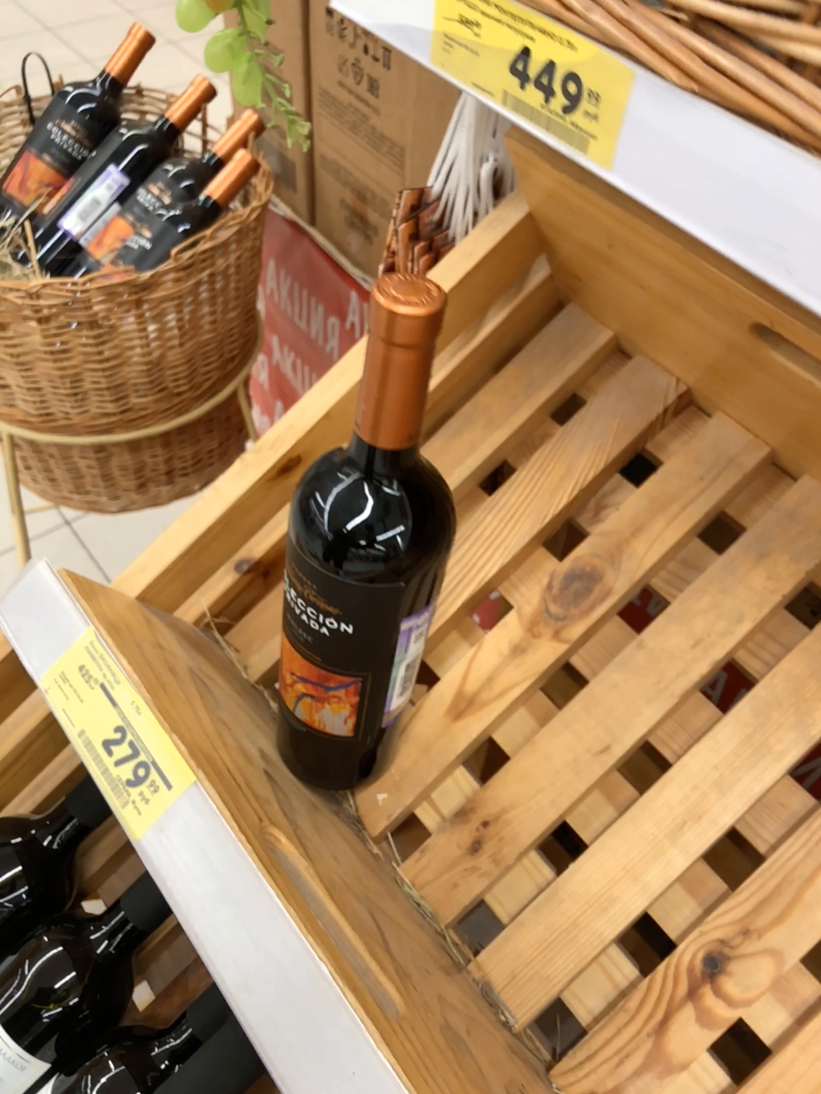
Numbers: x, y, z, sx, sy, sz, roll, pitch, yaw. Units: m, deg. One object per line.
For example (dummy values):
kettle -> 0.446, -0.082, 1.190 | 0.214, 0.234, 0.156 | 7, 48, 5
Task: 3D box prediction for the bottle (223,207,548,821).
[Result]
bottle -> -0.029, 0.002, 0.433 | 0.080, 0.288, 0.087 | 7, 43, -6
